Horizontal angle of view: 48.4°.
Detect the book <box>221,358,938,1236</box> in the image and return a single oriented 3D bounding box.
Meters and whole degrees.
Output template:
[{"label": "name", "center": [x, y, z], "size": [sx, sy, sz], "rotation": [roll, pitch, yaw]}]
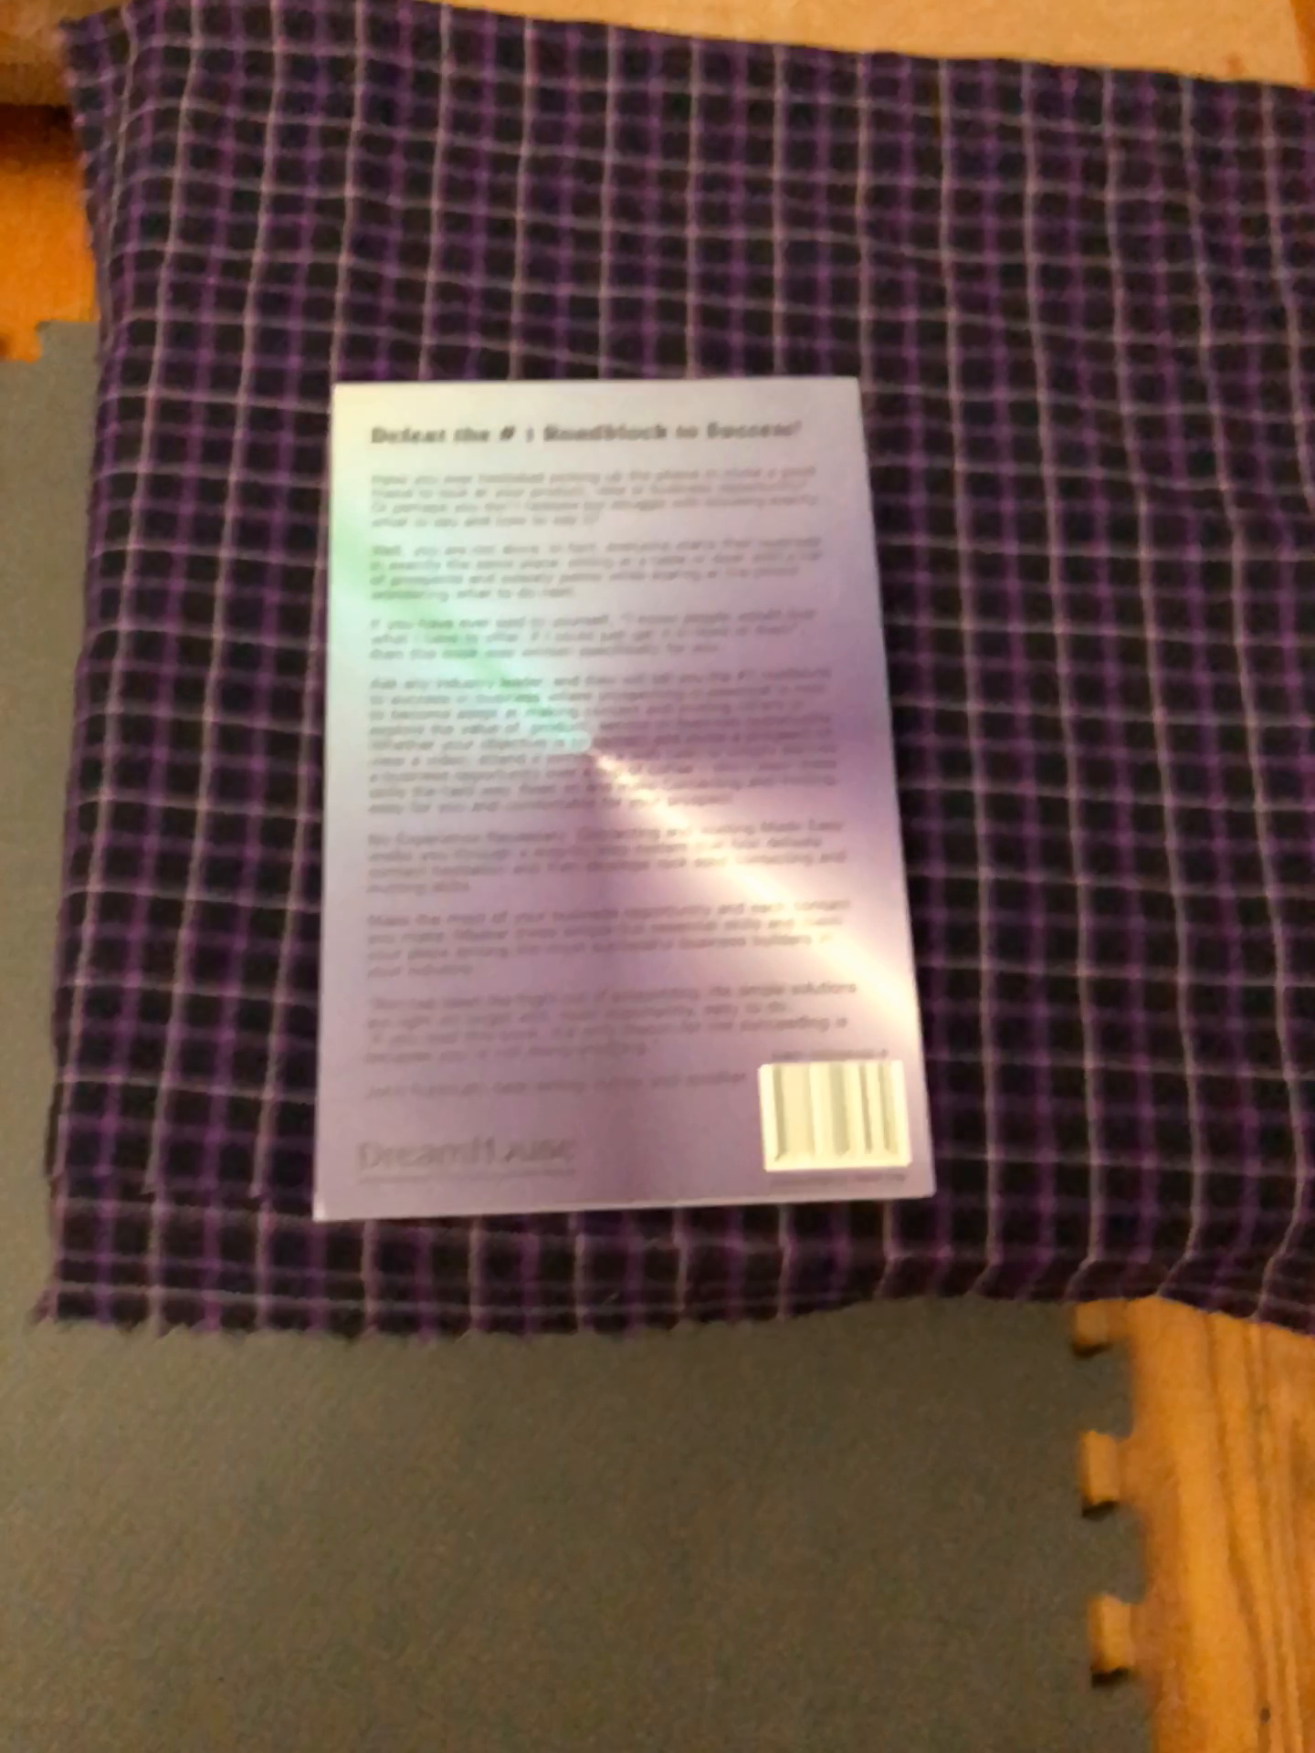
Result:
[{"label": "book", "center": [-0.022, -0.027, 0.367], "size": [0.160, 0.020, 0.220], "rotation": [-2, 74, -3]}]
